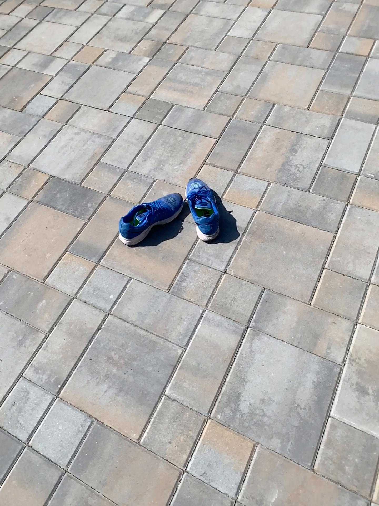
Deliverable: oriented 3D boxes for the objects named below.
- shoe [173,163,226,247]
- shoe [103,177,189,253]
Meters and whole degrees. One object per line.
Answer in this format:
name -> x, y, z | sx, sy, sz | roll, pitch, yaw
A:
shoe -> 0.033, -0.175, 1.384 | 0.120, 0.110, 0.271 | -14, 58, -2
shoe -> -0.151, -0.139, 1.386 | 0.280, 0.080, 0.120 | -37, 61, -15
